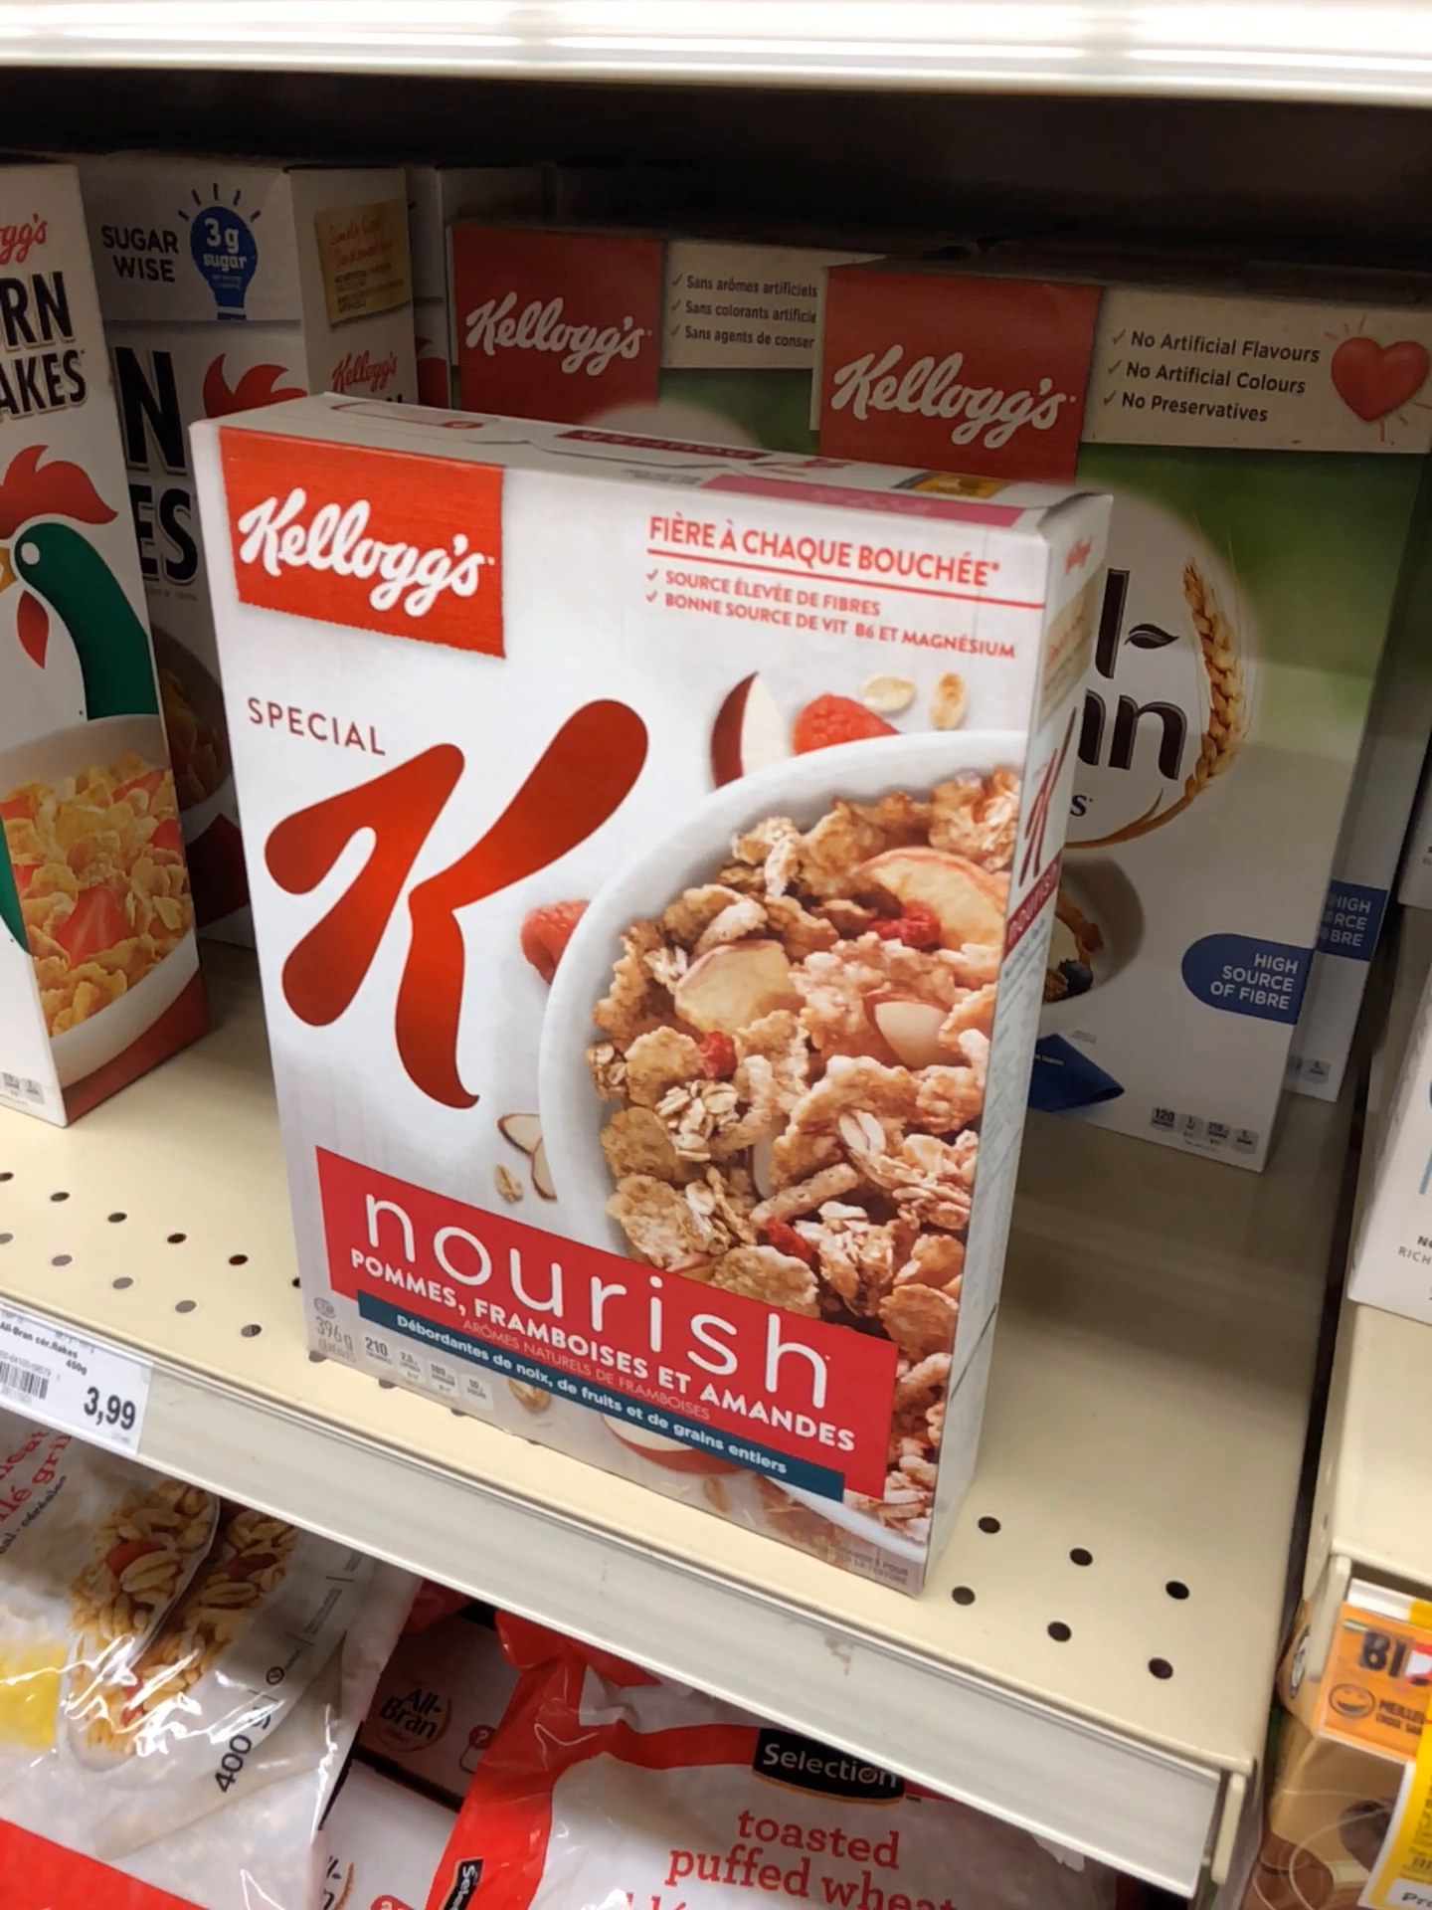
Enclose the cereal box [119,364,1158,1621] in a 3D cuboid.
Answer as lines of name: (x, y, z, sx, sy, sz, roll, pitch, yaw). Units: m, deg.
cereal box: (-0.024, 0.006, 0.367, 0.200, 0.248, 0.060, 15, 30, 23)
